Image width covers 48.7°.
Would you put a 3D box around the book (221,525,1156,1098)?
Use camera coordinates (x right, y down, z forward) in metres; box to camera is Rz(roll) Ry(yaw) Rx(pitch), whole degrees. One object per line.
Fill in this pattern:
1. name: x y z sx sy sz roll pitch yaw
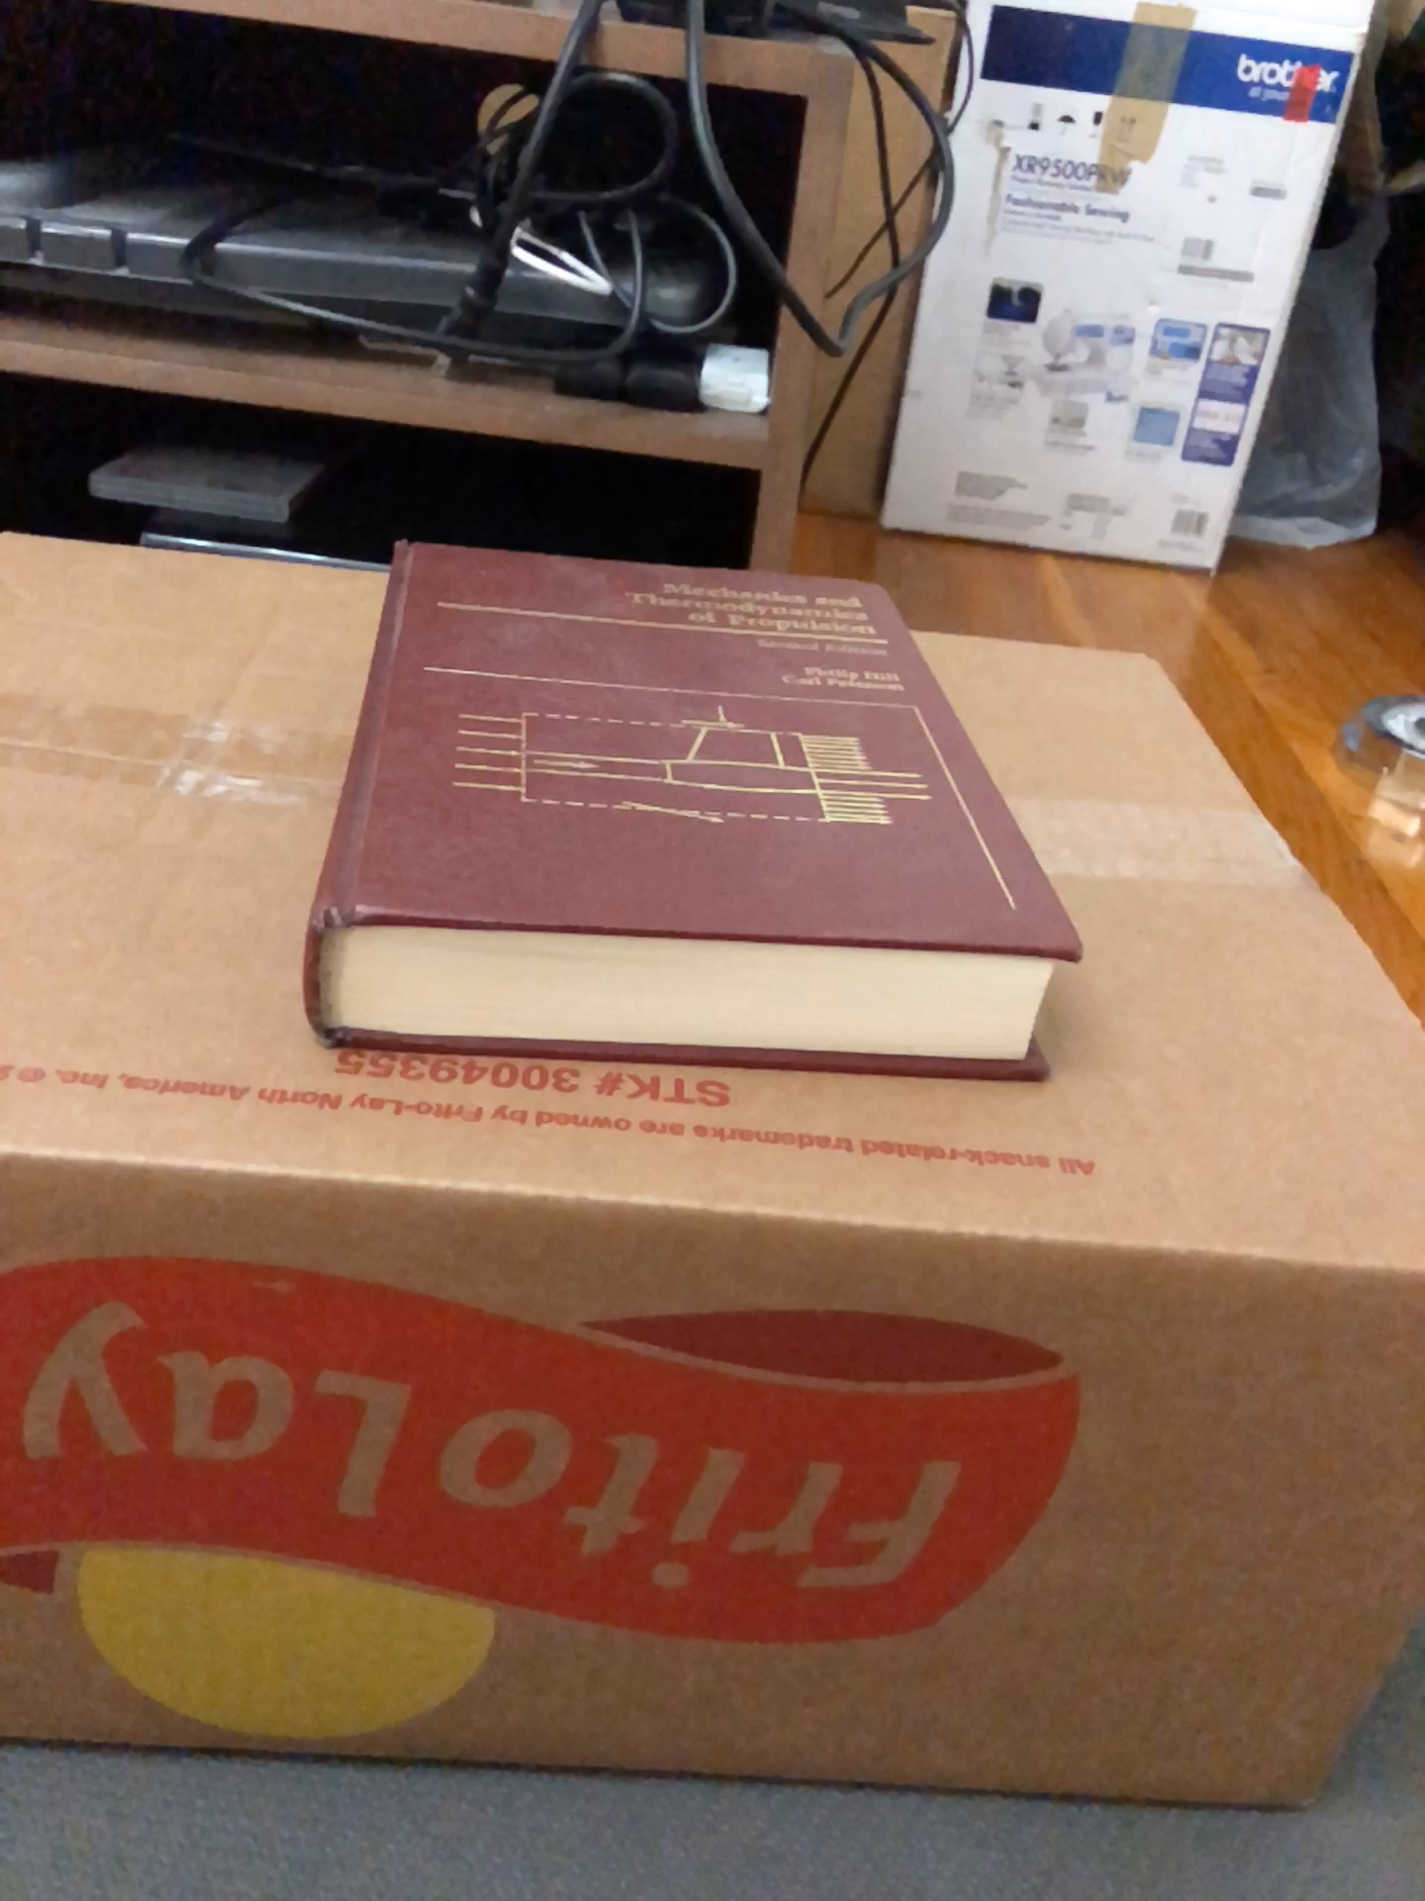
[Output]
1. book: -0.012 -0.053 0.430 0.190 0.040 0.241 3 31 -7
